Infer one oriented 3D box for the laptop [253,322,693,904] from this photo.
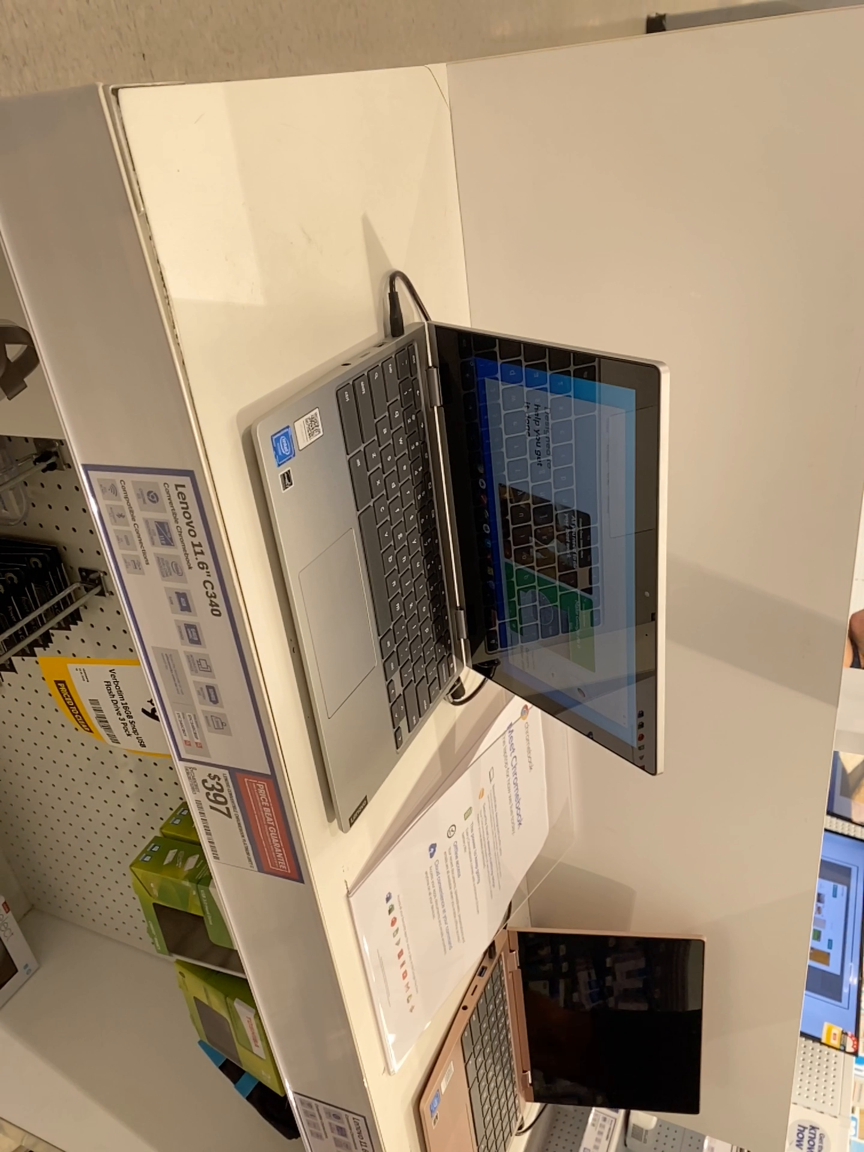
[{"bbox_3d":[0.049,0.009,0.562,0.201,0.180,0.284,-47,137,-50],"label":"laptop"}]
